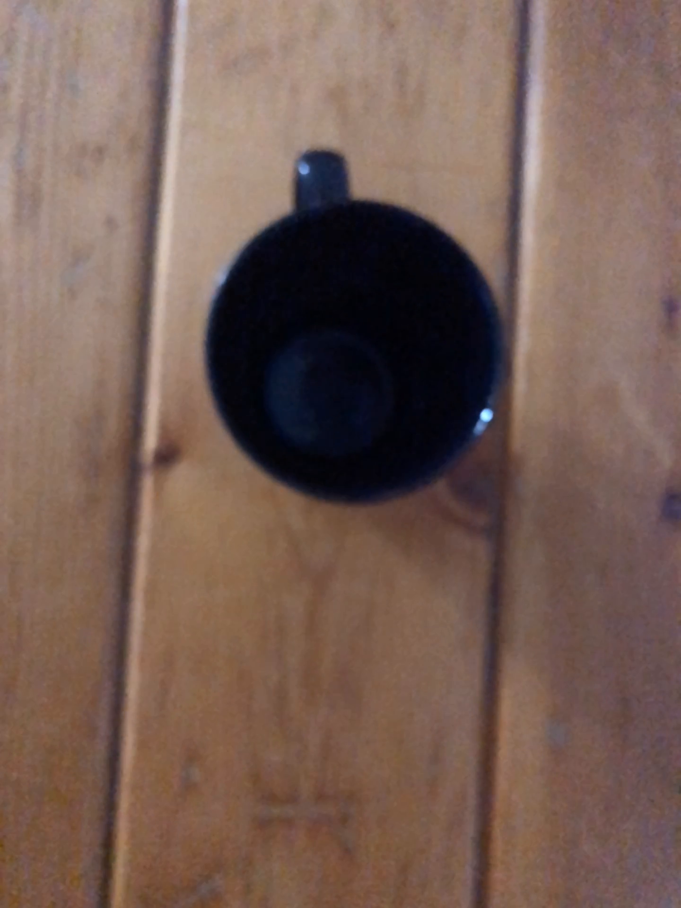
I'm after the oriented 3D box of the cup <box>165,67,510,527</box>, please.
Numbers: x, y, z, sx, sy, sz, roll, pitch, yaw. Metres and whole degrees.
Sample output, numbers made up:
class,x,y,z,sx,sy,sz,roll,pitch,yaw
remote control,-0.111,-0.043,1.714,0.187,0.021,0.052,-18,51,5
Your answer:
class,x,y,z,sx,sy,sz,roll,pitch,yaw
cup,-0.004,-0.047,0.292,0.100,0.100,0.140,-2,88,-4
